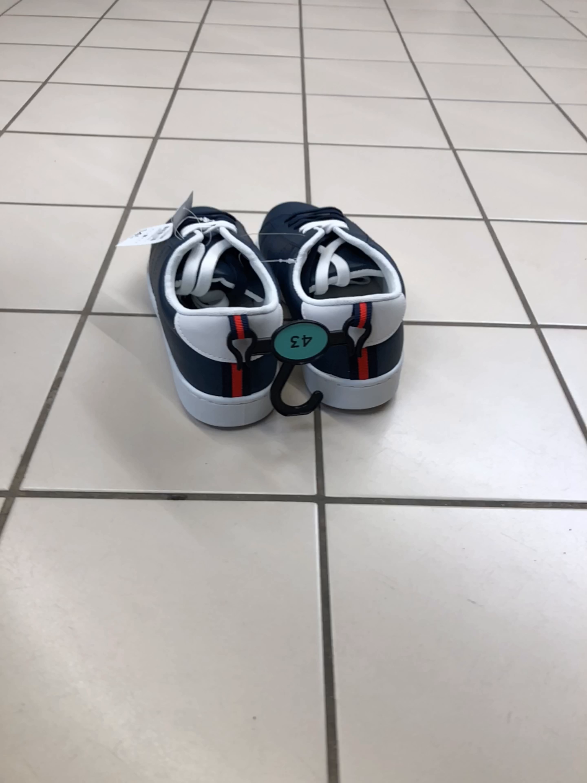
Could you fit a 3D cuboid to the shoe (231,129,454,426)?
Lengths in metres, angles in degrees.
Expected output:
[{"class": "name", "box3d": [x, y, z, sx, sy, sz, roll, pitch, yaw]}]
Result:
[{"class": "shoe", "box3d": [0.021, -0.114, 0.542, 0.100, 0.099, 0.291, -7, 43, -11]}]

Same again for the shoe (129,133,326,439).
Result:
[{"class": "shoe", "box3d": [-0.067, -0.106, 0.532, 0.100, 0.099, 0.291, -9, 43, -12]}]
